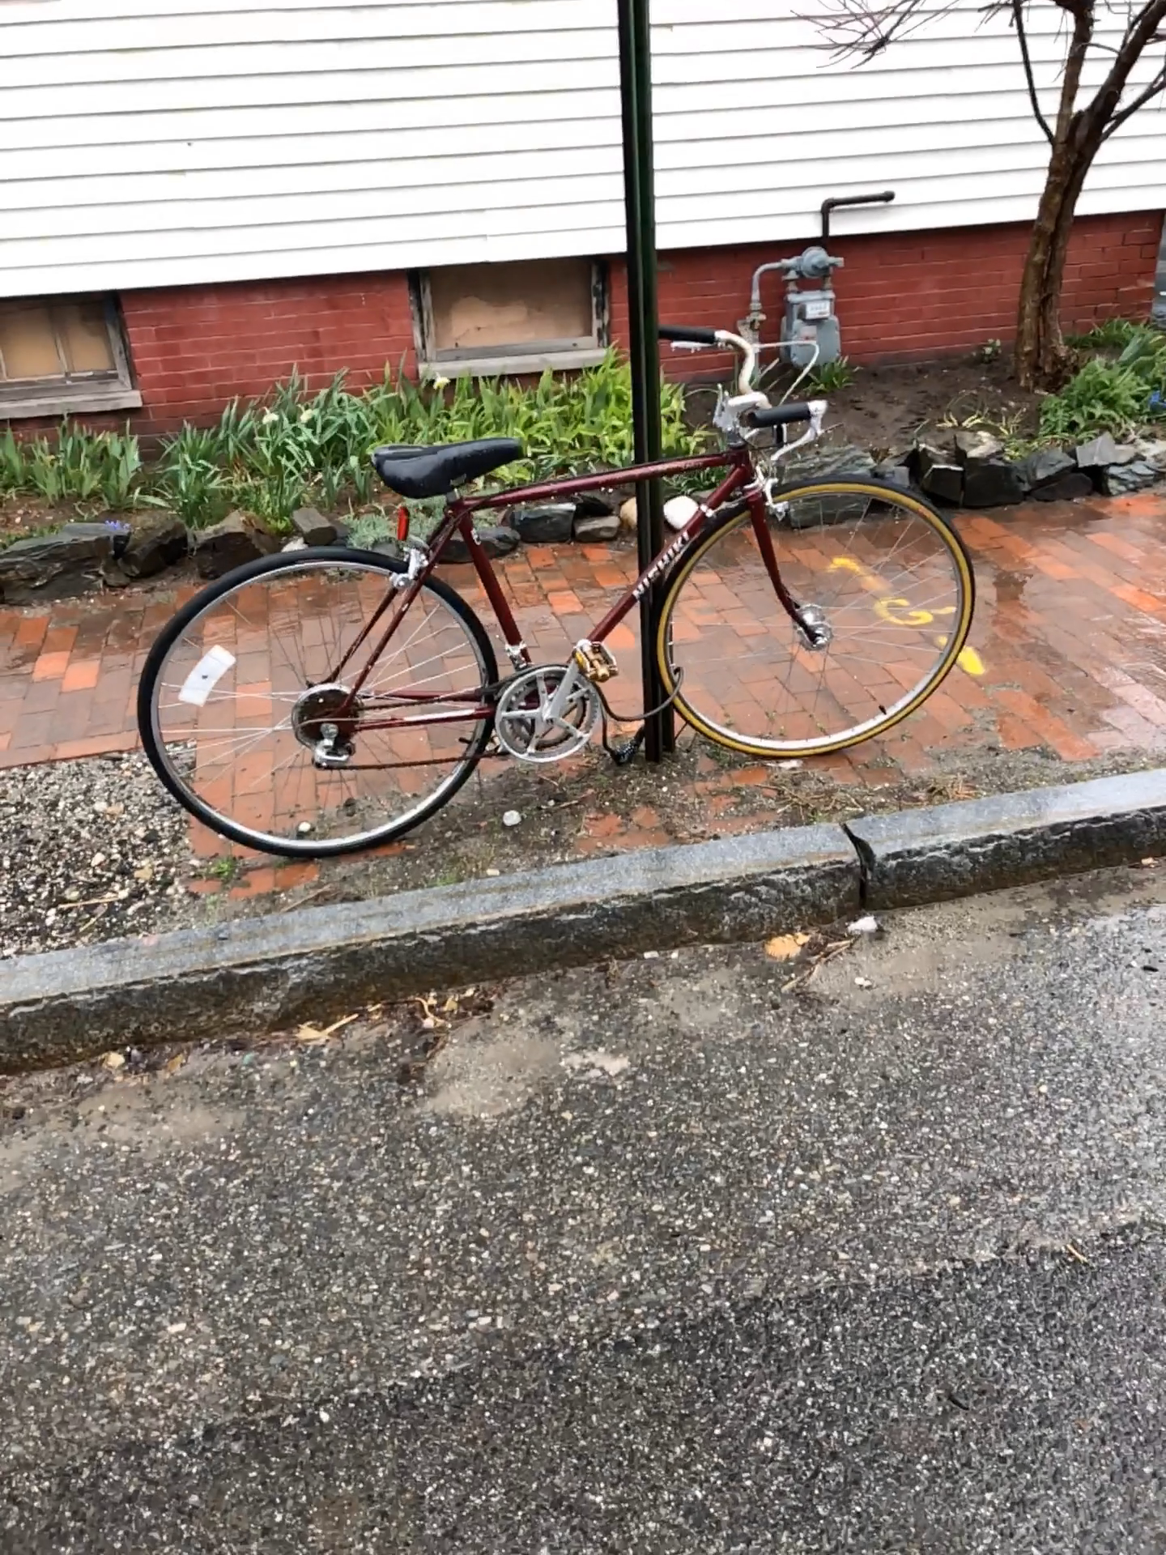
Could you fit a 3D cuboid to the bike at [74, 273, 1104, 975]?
[{"bbox_3d":[0.019,-0.321,2.346,1.606,0.907,0.502,-10,29,-10],"label":"bike"}]
